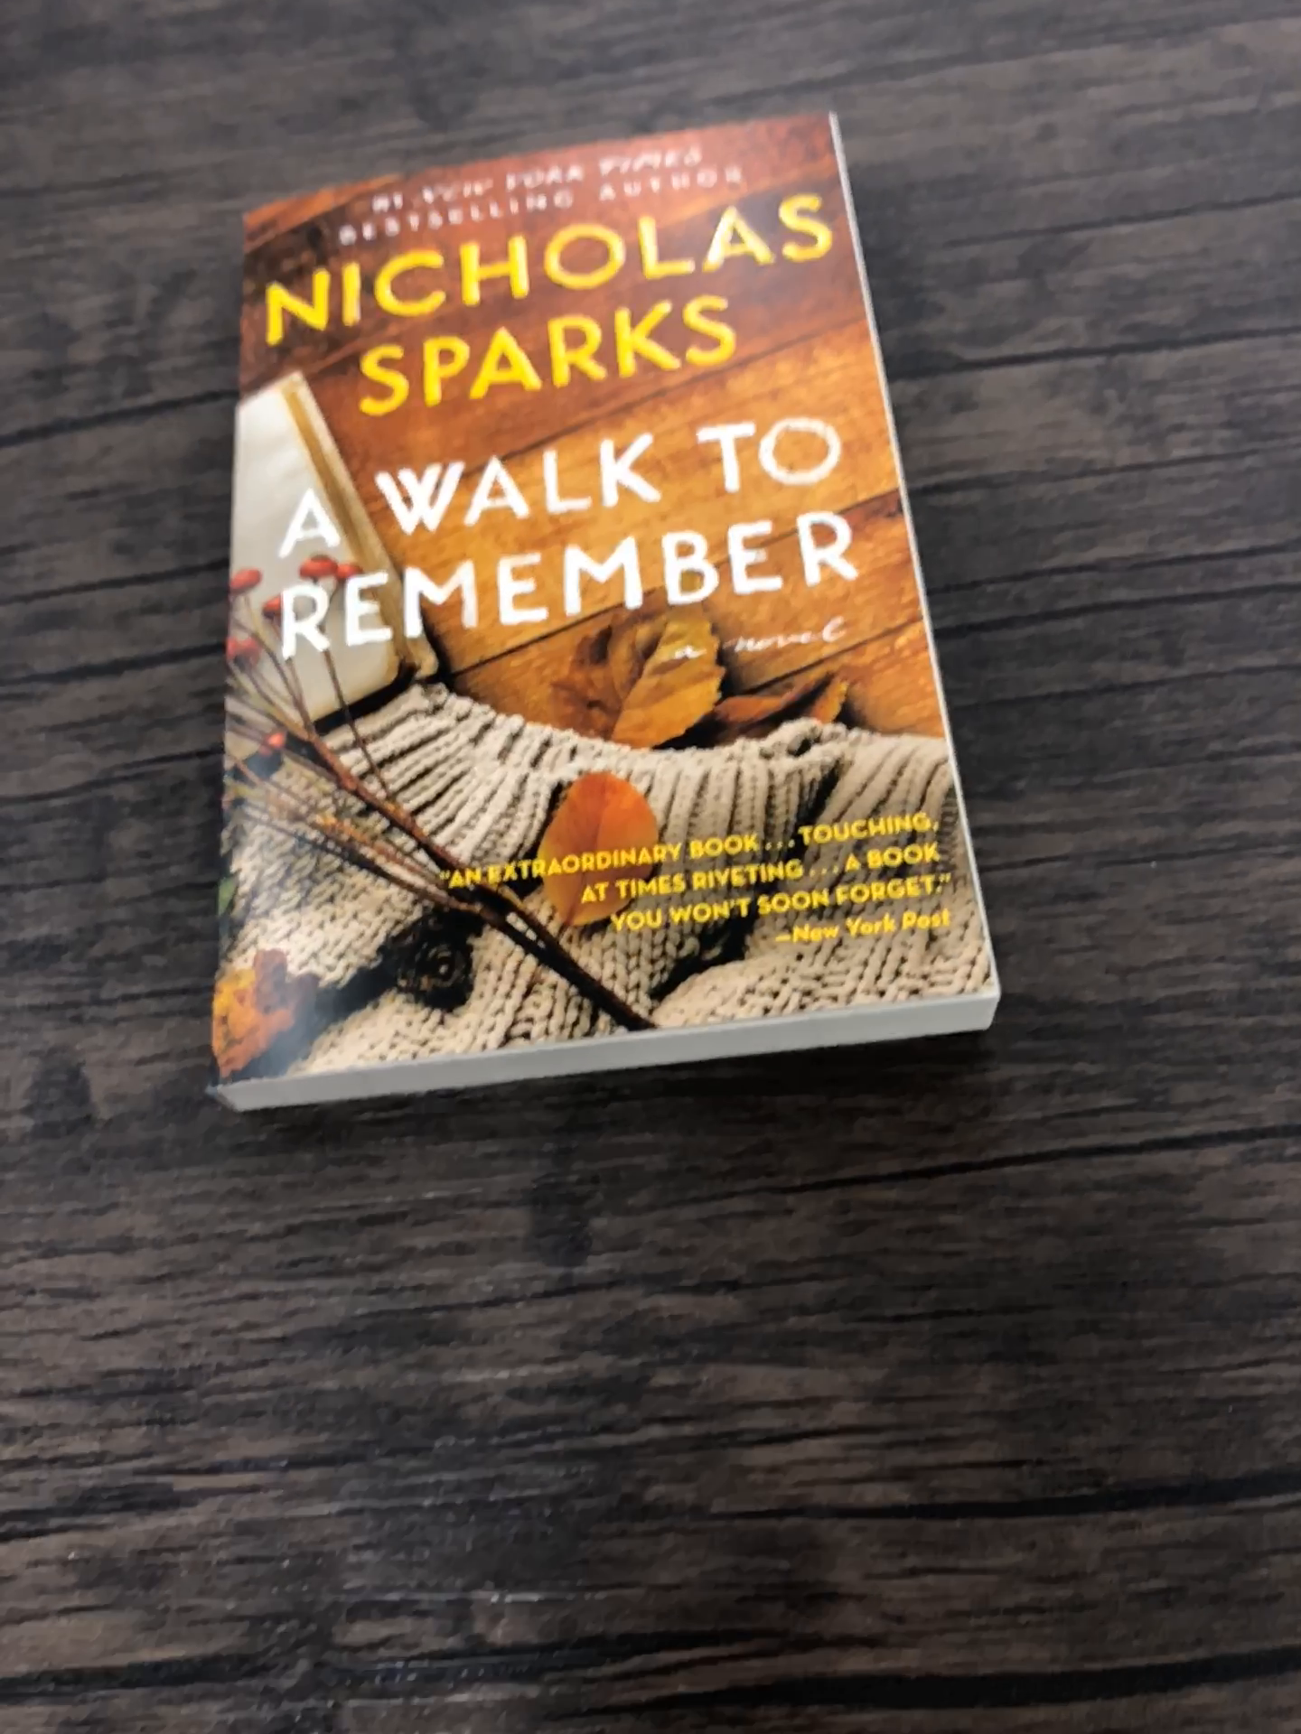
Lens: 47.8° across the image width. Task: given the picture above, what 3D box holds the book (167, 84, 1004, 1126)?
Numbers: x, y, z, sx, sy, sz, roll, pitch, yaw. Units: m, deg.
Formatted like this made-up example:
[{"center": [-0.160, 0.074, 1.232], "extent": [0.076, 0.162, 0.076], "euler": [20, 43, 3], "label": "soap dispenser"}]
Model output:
[{"center": [-0.019, -0.059, 0.278], "extent": [0.132, 0.020, 0.200], "euler": [-7, 66, 4], "label": "book"}]
